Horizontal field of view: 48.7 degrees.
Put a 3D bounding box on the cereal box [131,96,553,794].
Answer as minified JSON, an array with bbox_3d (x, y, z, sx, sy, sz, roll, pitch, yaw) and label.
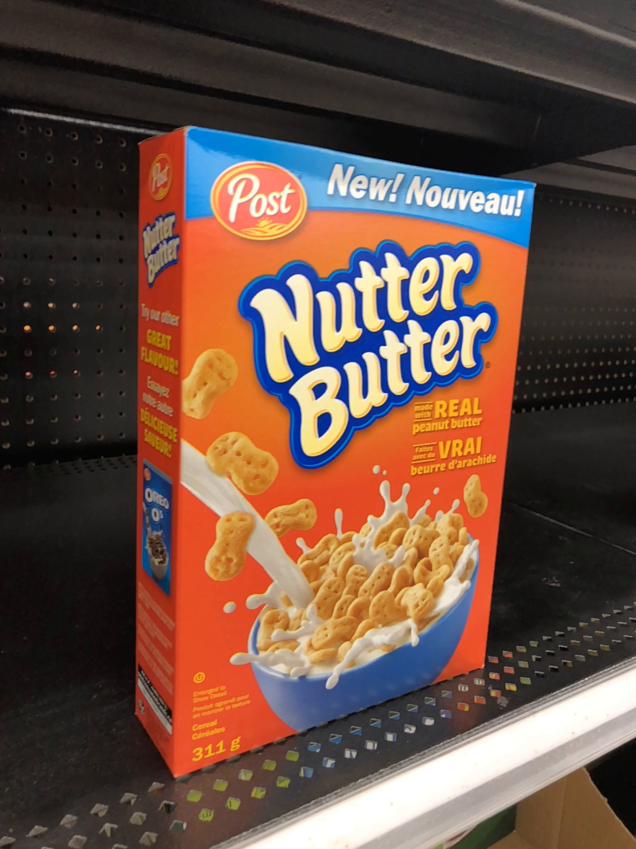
[{"bbox_3d":[0.011,0.008,0.348,0.190,0.279,0.060,-5,15,-32],"label":"cereal box"}]
